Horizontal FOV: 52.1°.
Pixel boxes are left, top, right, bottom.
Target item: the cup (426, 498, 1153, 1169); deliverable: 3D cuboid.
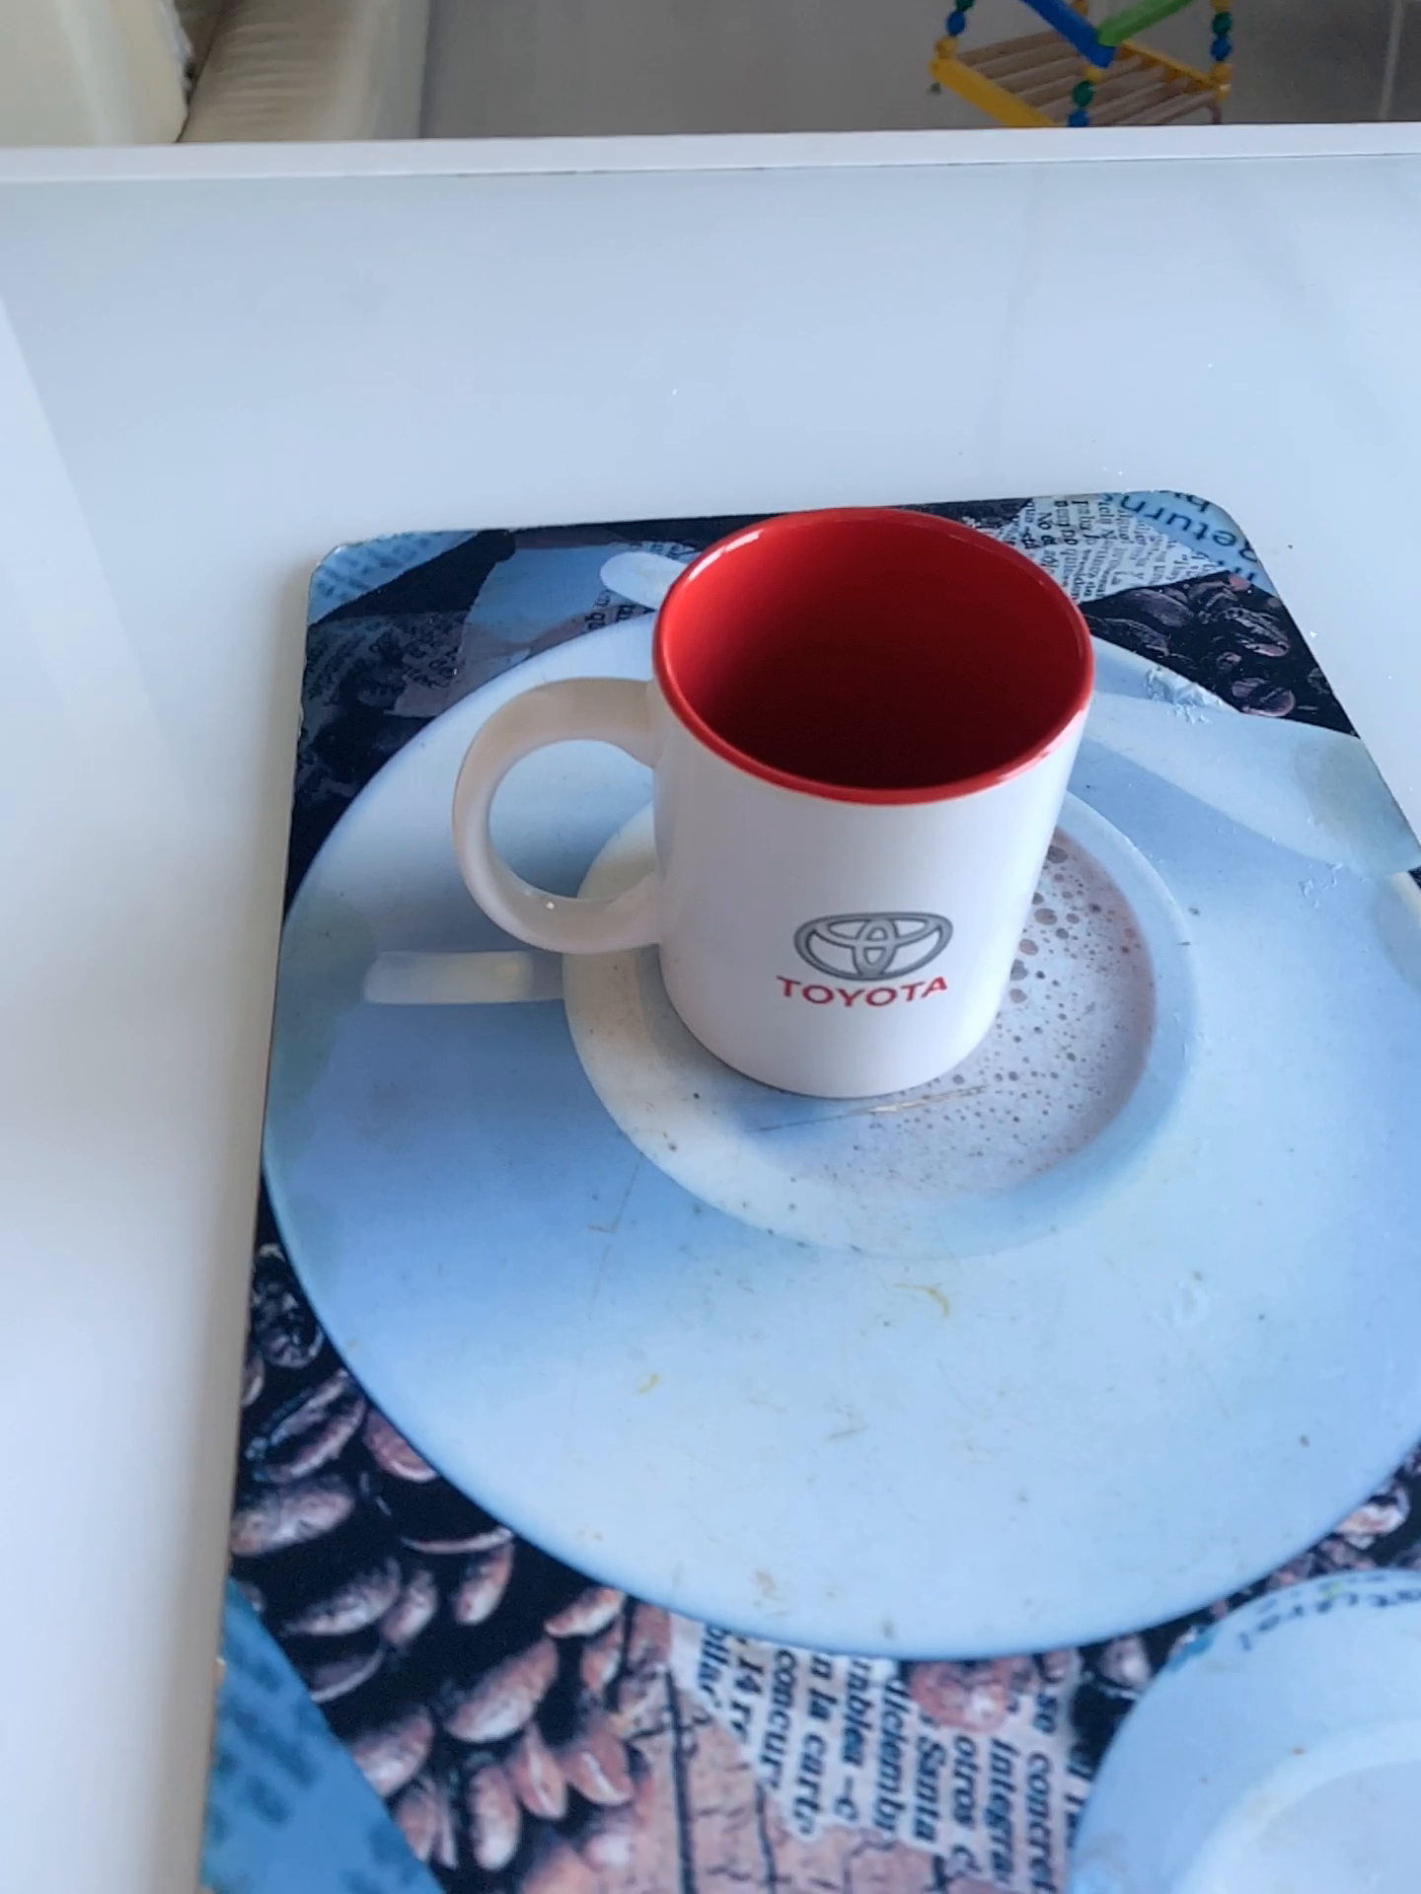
[{"bbox_3d":[0.010,-0.019,0.301,0.117,0.115,0.078,-2,52,-3],"label":"cup"}]
